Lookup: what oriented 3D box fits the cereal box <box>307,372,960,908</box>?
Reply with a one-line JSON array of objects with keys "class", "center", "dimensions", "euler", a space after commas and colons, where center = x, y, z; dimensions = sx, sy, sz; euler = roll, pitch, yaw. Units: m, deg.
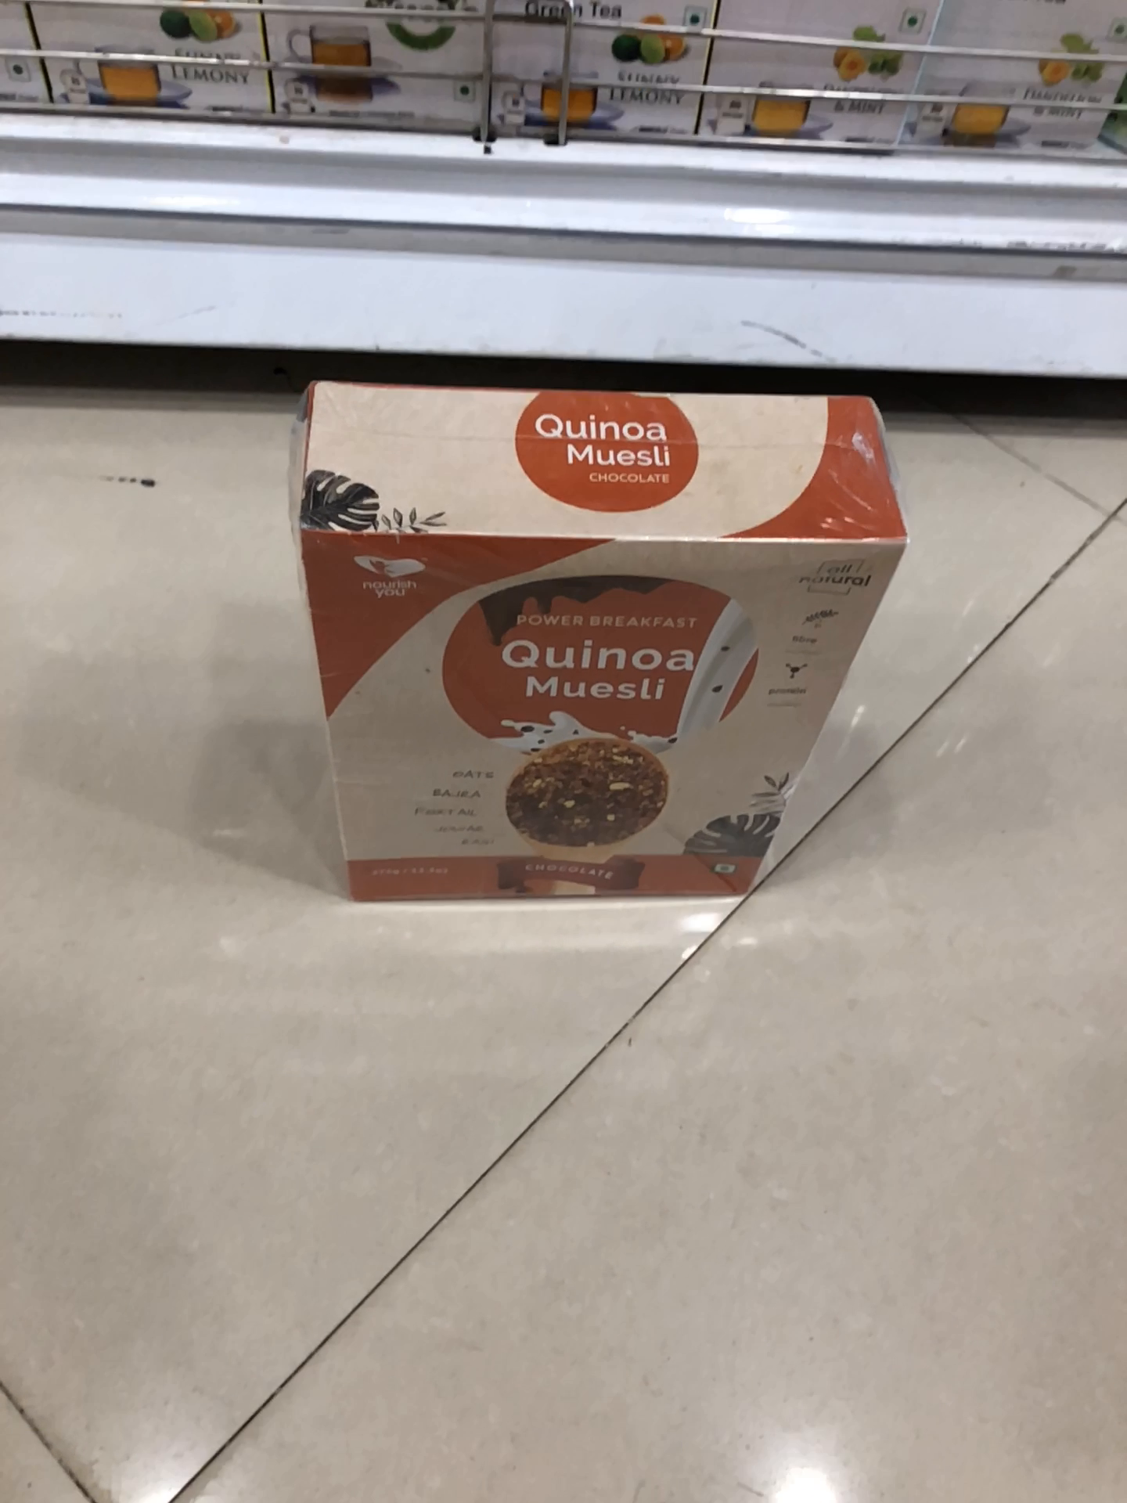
[{"class": "cereal box", "center": [0.007, -0.018, 0.408], "dimensions": [0.160, 0.219, 0.050], "euler": [0, 59, -7]}]
